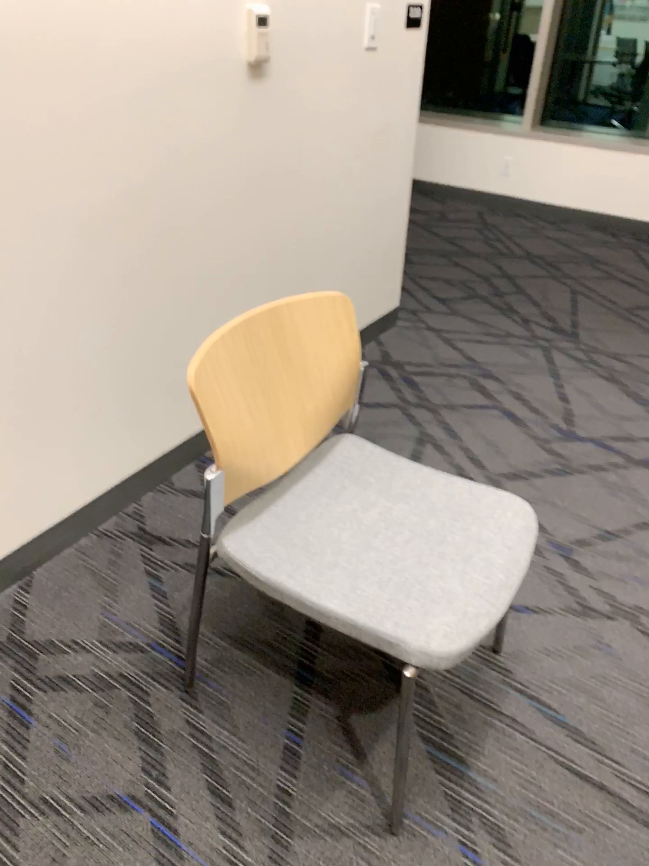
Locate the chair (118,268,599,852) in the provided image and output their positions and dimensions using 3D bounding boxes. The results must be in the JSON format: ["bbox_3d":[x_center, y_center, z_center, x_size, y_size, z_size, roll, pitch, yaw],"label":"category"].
[{"bbox_3d":[0.069,0.176,1.217,0.536,0.704,0.557,20,37,25],"label":"chair"}]
